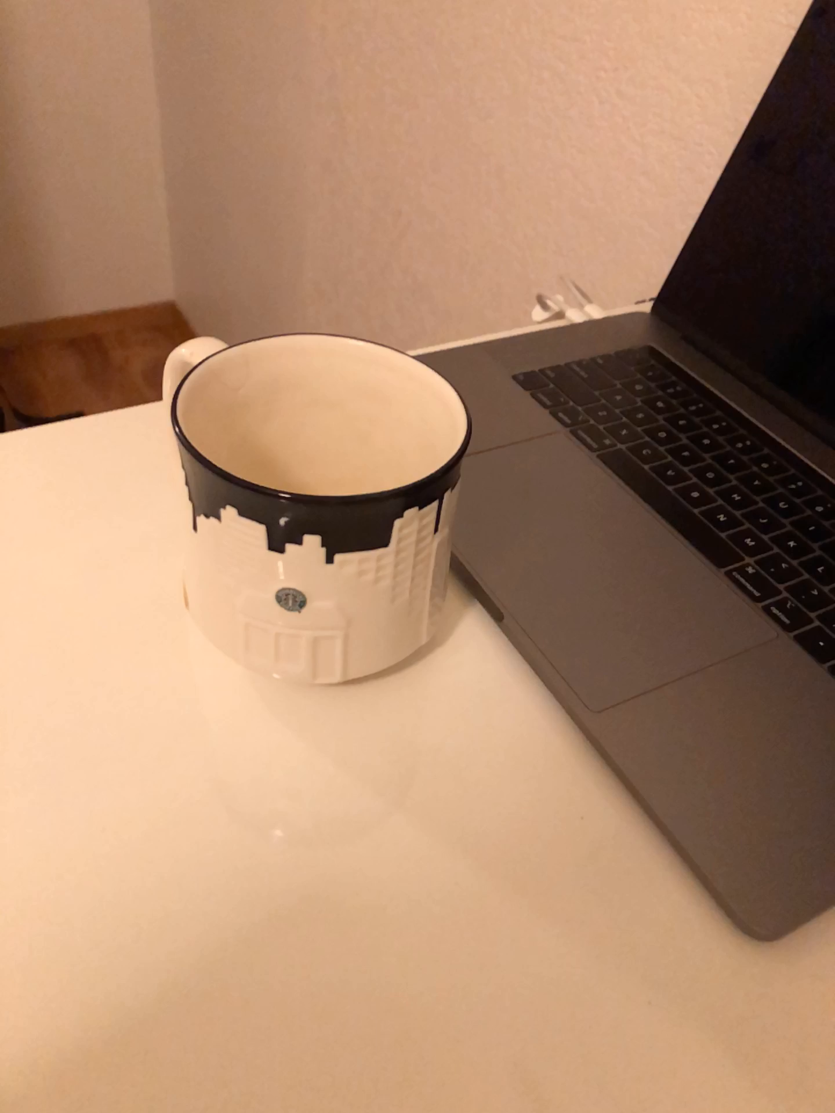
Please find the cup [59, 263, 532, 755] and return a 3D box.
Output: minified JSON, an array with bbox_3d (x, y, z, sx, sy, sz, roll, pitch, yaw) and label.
[{"bbox_3d":[-0.052,-0.027,0.374,0.100,0.109,0.150,-30,53,-34],"label":"cup"}]
